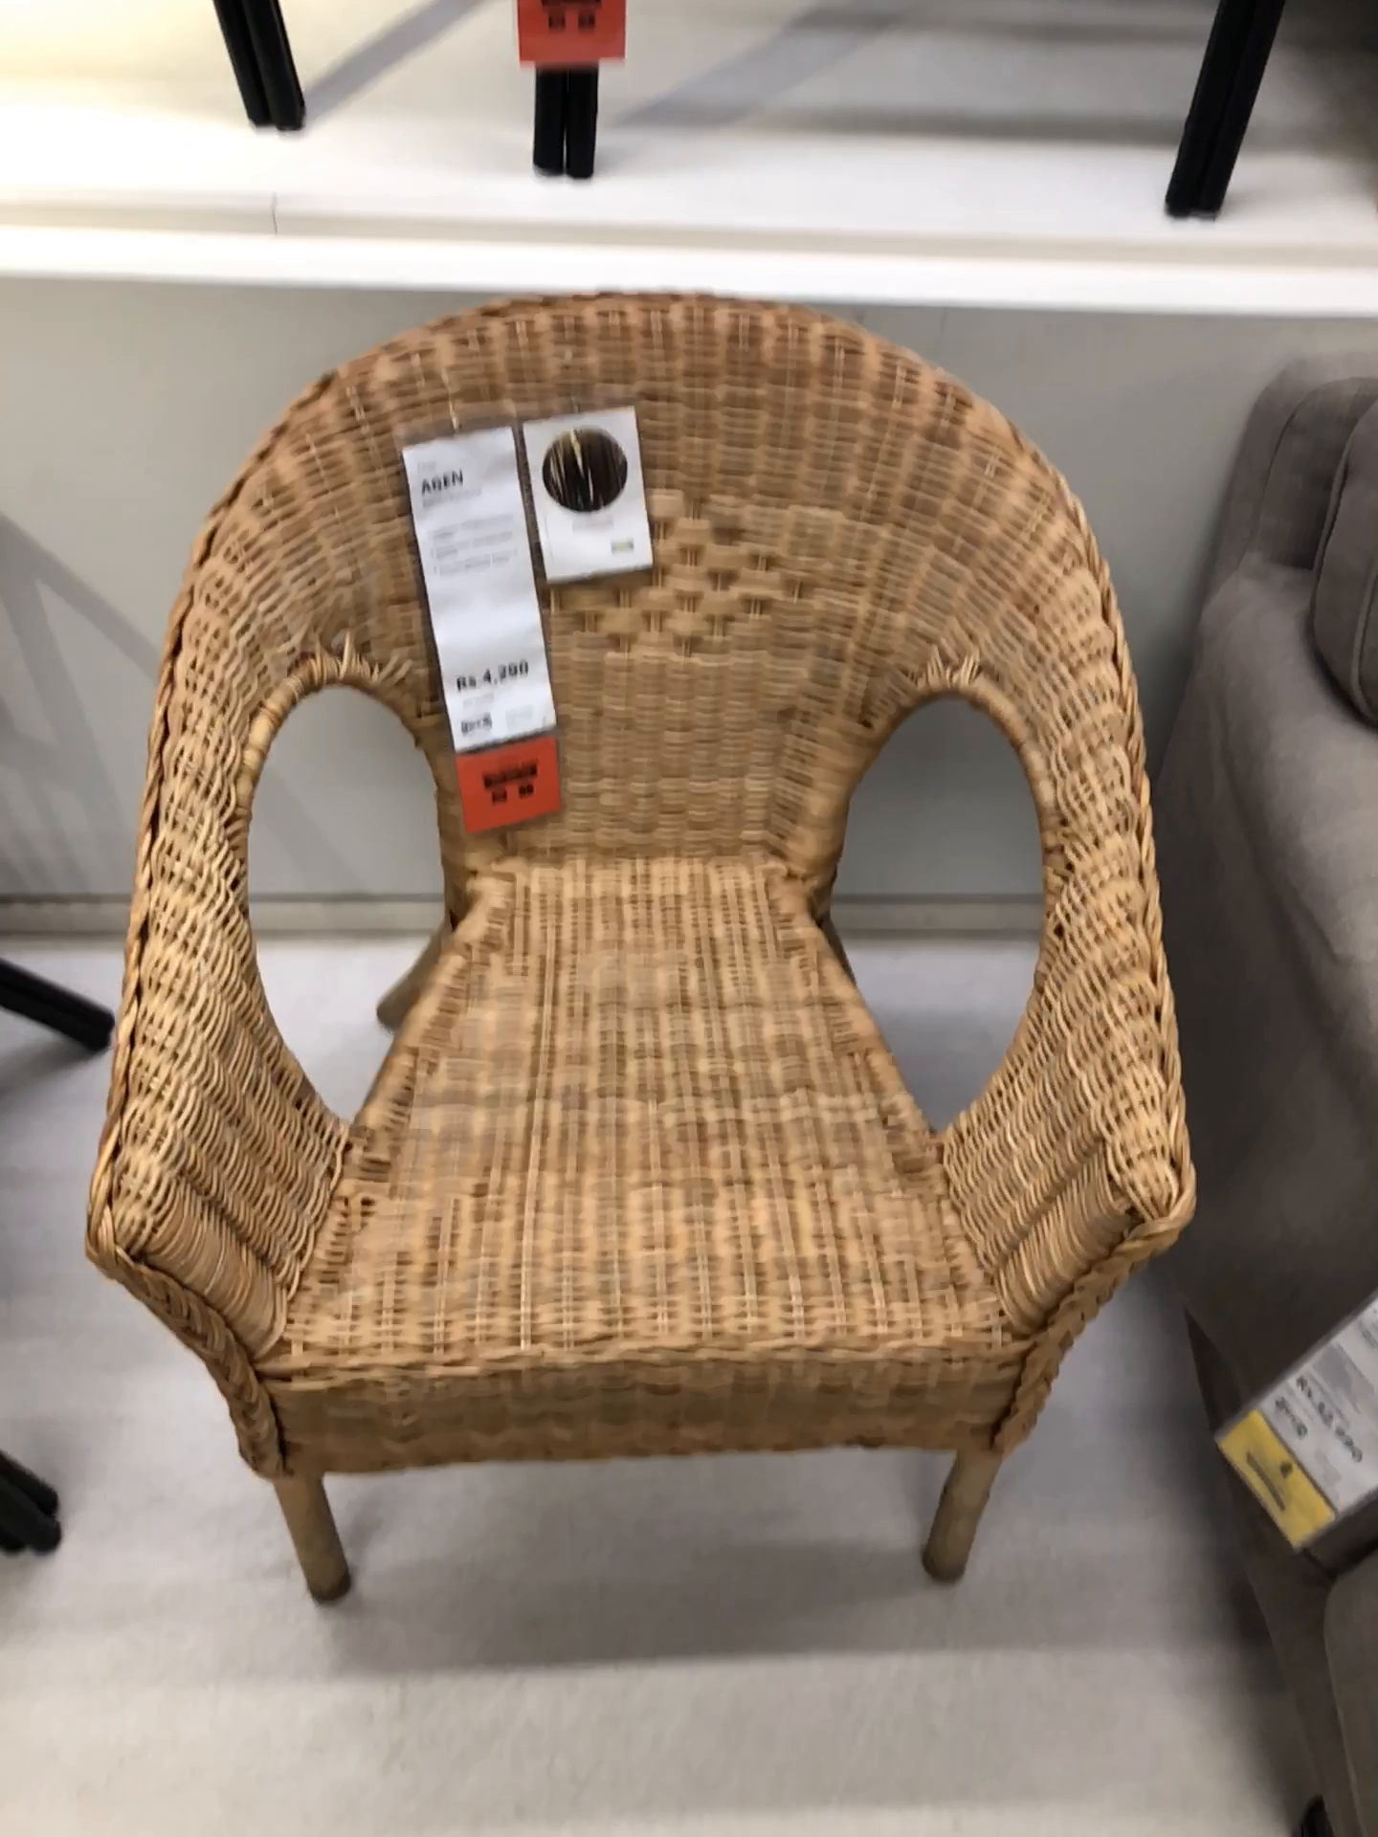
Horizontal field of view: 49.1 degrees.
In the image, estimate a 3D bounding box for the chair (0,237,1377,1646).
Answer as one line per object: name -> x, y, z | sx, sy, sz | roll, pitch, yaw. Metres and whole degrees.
chair -> -0.018, 0.057, 0.980 | 0.550, 0.696, 0.604 | 0, 52, -4
